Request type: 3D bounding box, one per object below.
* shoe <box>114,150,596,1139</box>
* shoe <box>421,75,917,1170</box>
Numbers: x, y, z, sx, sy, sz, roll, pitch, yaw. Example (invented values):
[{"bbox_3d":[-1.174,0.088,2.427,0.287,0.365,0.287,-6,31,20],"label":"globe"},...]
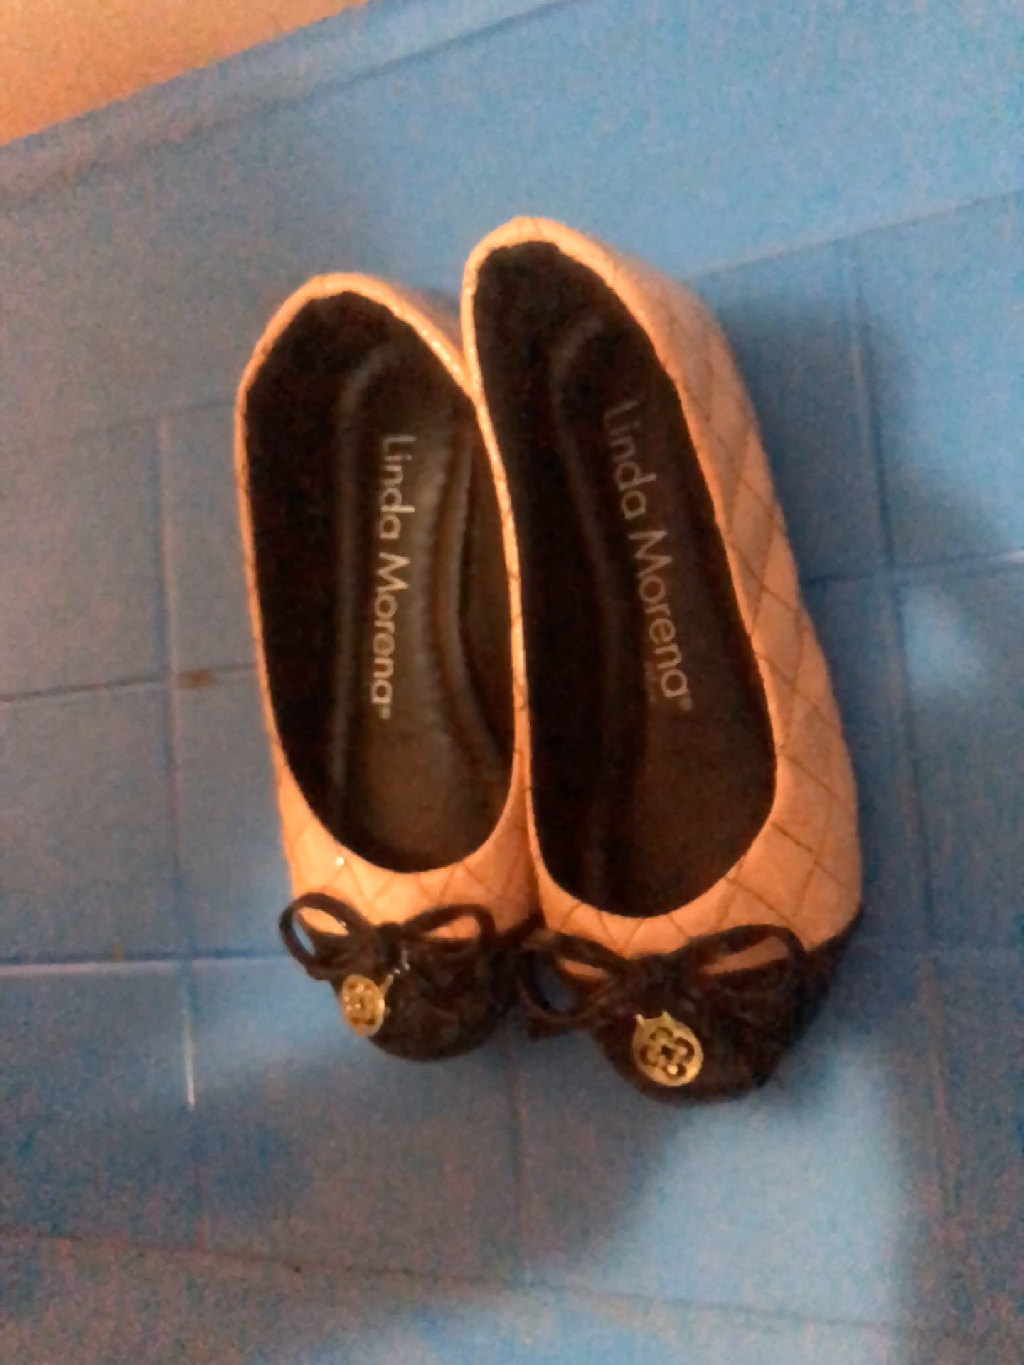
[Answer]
[{"bbox_3d":[-0.033,-0.006,0.270,0.070,0.080,0.190,-5,86,22],"label":"shoe"},{"bbox_3d":[0.037,-0.009,0.248,0.070,0.080,0.190,-7,86,22],"label":"shoe"}]
